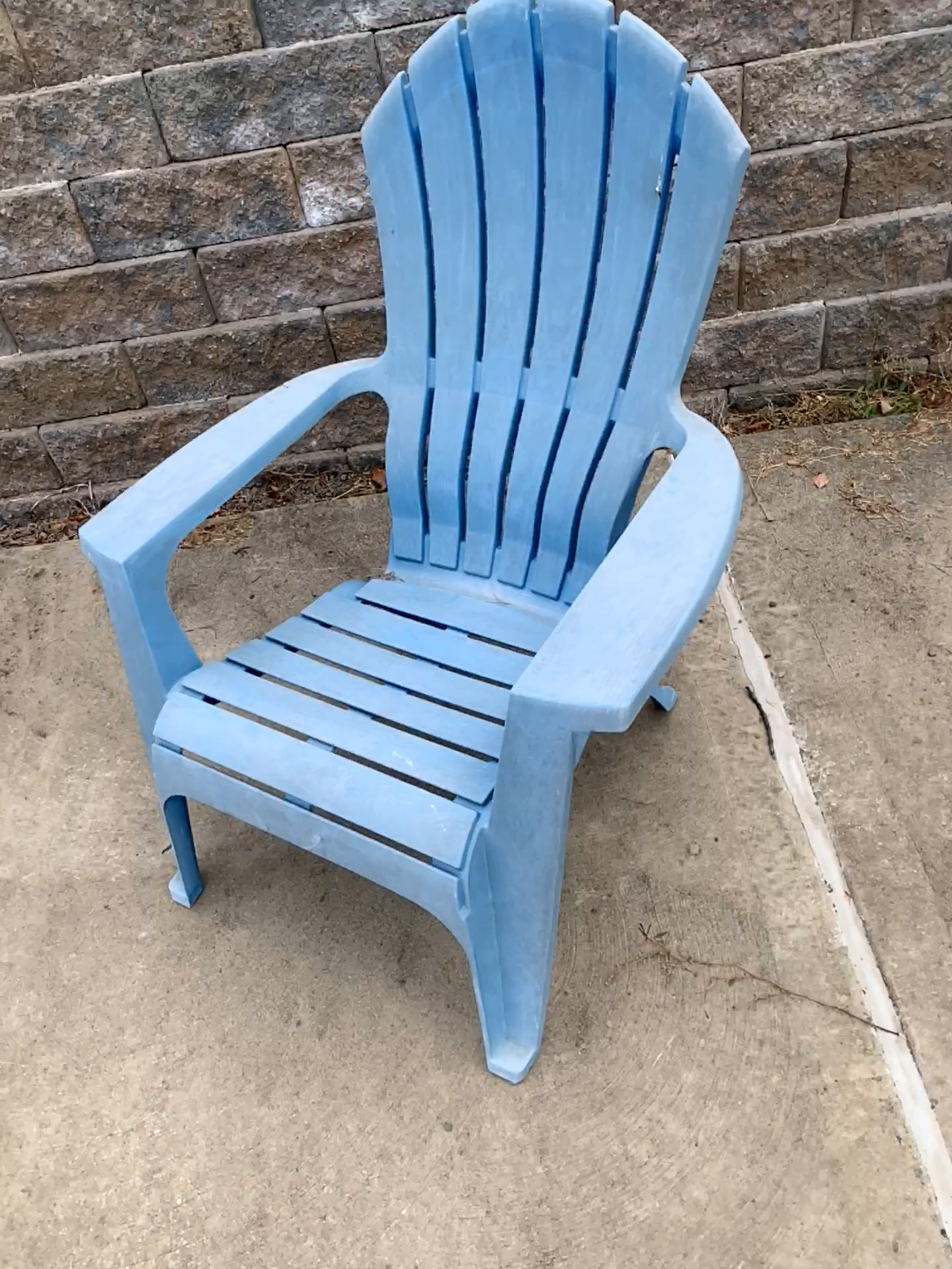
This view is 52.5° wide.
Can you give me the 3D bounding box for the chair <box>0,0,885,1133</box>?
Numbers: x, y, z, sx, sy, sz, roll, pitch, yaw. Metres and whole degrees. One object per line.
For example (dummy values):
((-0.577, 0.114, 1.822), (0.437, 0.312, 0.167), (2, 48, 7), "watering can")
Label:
((-0.077, -0.126, 1.089), (0.702, 0.885, 0.762), (18, 52, 27), "chair")
